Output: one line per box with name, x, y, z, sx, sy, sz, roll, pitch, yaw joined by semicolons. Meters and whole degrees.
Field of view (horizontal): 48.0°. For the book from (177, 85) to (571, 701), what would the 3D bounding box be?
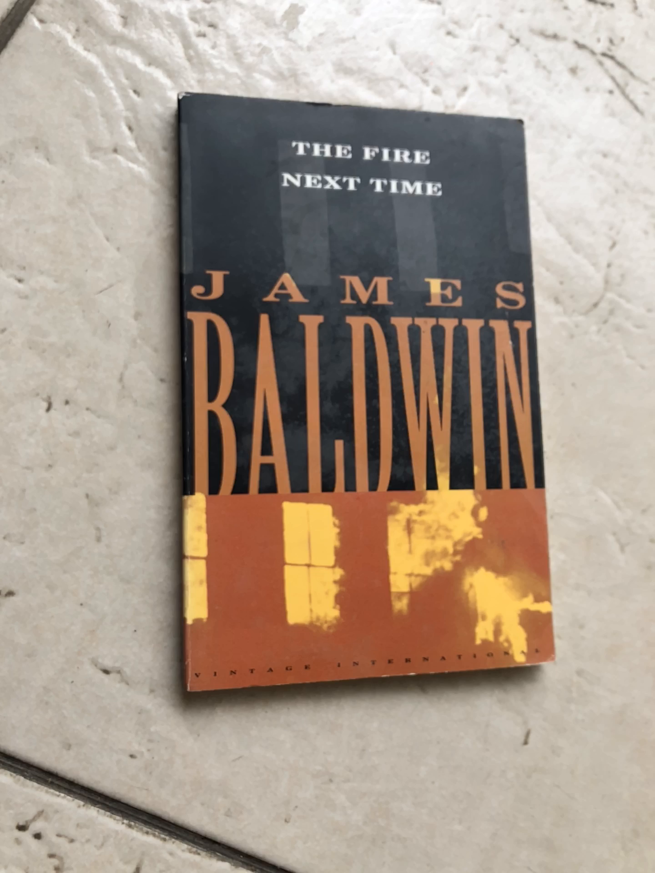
book;0.015;-0.018;0.257;0.130;0.016;0.200;0;84;-12
